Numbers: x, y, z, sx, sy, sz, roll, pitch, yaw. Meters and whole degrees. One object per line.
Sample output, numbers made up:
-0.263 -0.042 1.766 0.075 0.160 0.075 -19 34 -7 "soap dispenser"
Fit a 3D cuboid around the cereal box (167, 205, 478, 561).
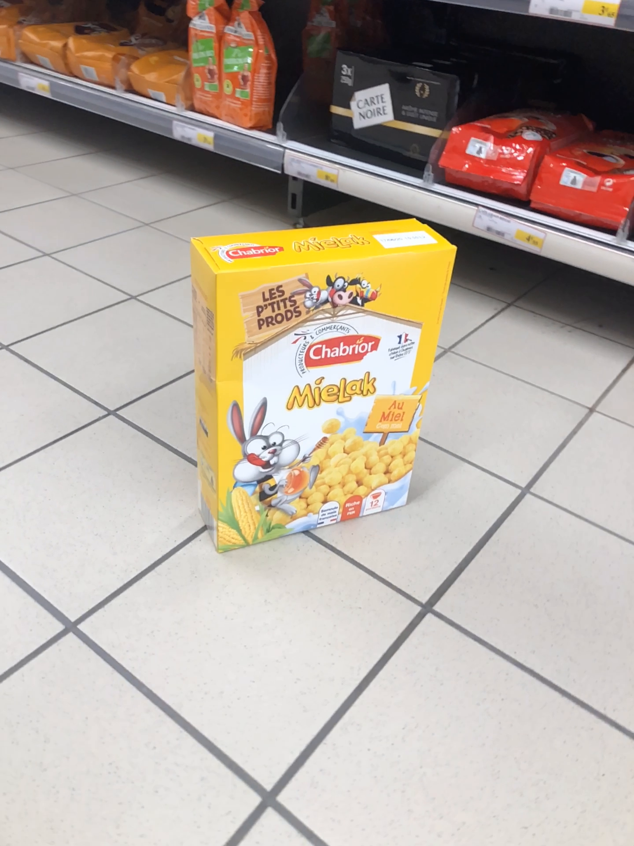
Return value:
-0.003 -0.031 0.564 0.211 0.258 0.070 -11 38 -23 "cereal box"
